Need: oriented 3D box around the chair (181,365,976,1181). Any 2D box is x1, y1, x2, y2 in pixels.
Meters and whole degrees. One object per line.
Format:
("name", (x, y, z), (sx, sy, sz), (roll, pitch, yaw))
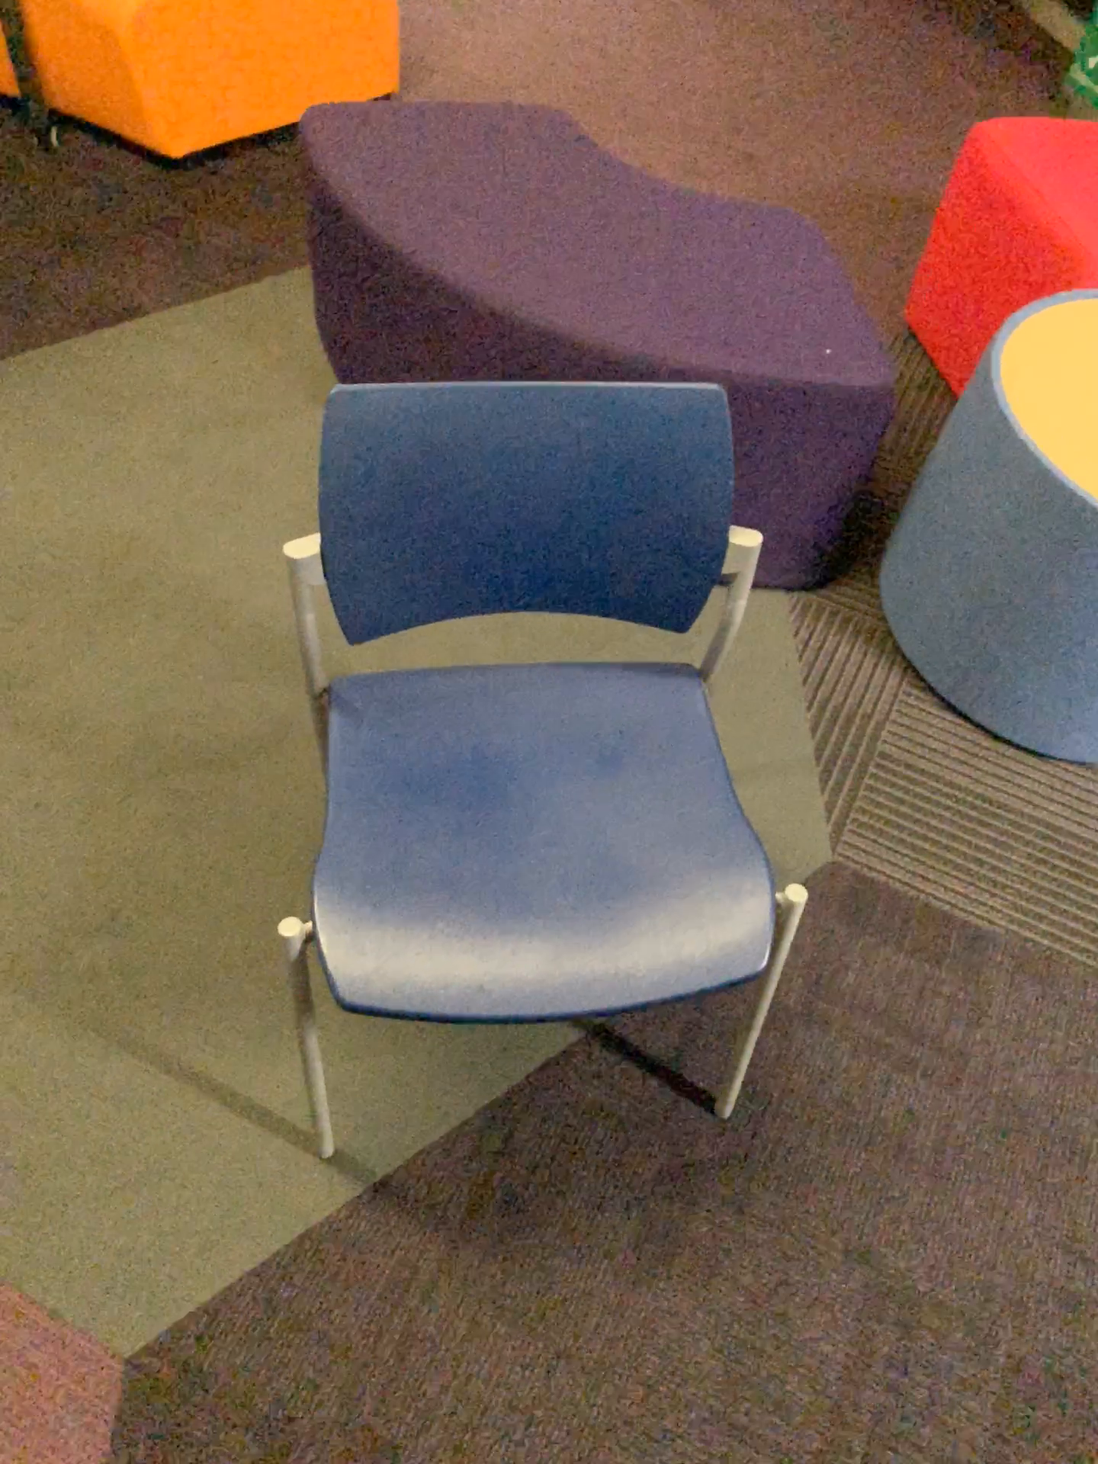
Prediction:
("chair", (-0.023, 0.071, 1.229), (0.560, 0.695, 0.574), (-2, 53, -7))
